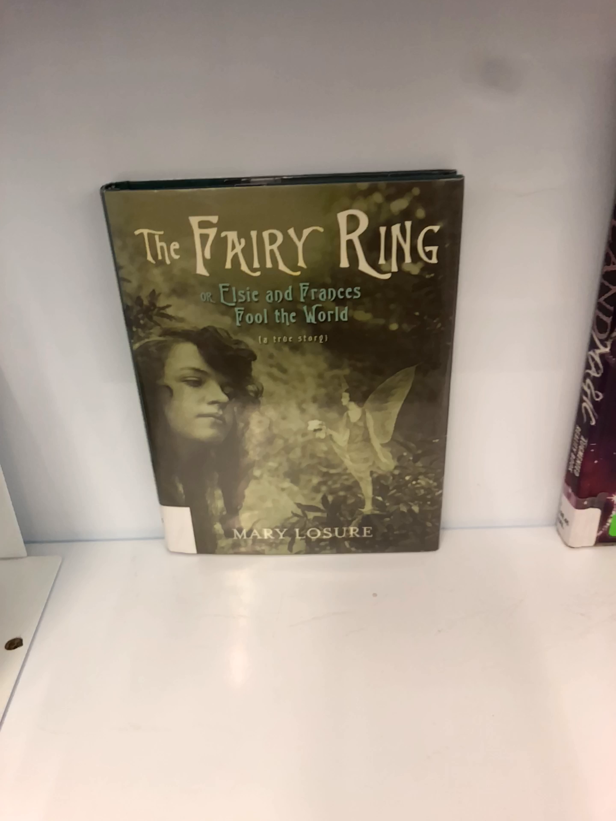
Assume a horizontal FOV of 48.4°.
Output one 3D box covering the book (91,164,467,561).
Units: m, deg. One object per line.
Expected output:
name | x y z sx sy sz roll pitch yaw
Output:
book | -0.008 -0.013 0.328 0.150 0.190 0.028 -2 27 2
